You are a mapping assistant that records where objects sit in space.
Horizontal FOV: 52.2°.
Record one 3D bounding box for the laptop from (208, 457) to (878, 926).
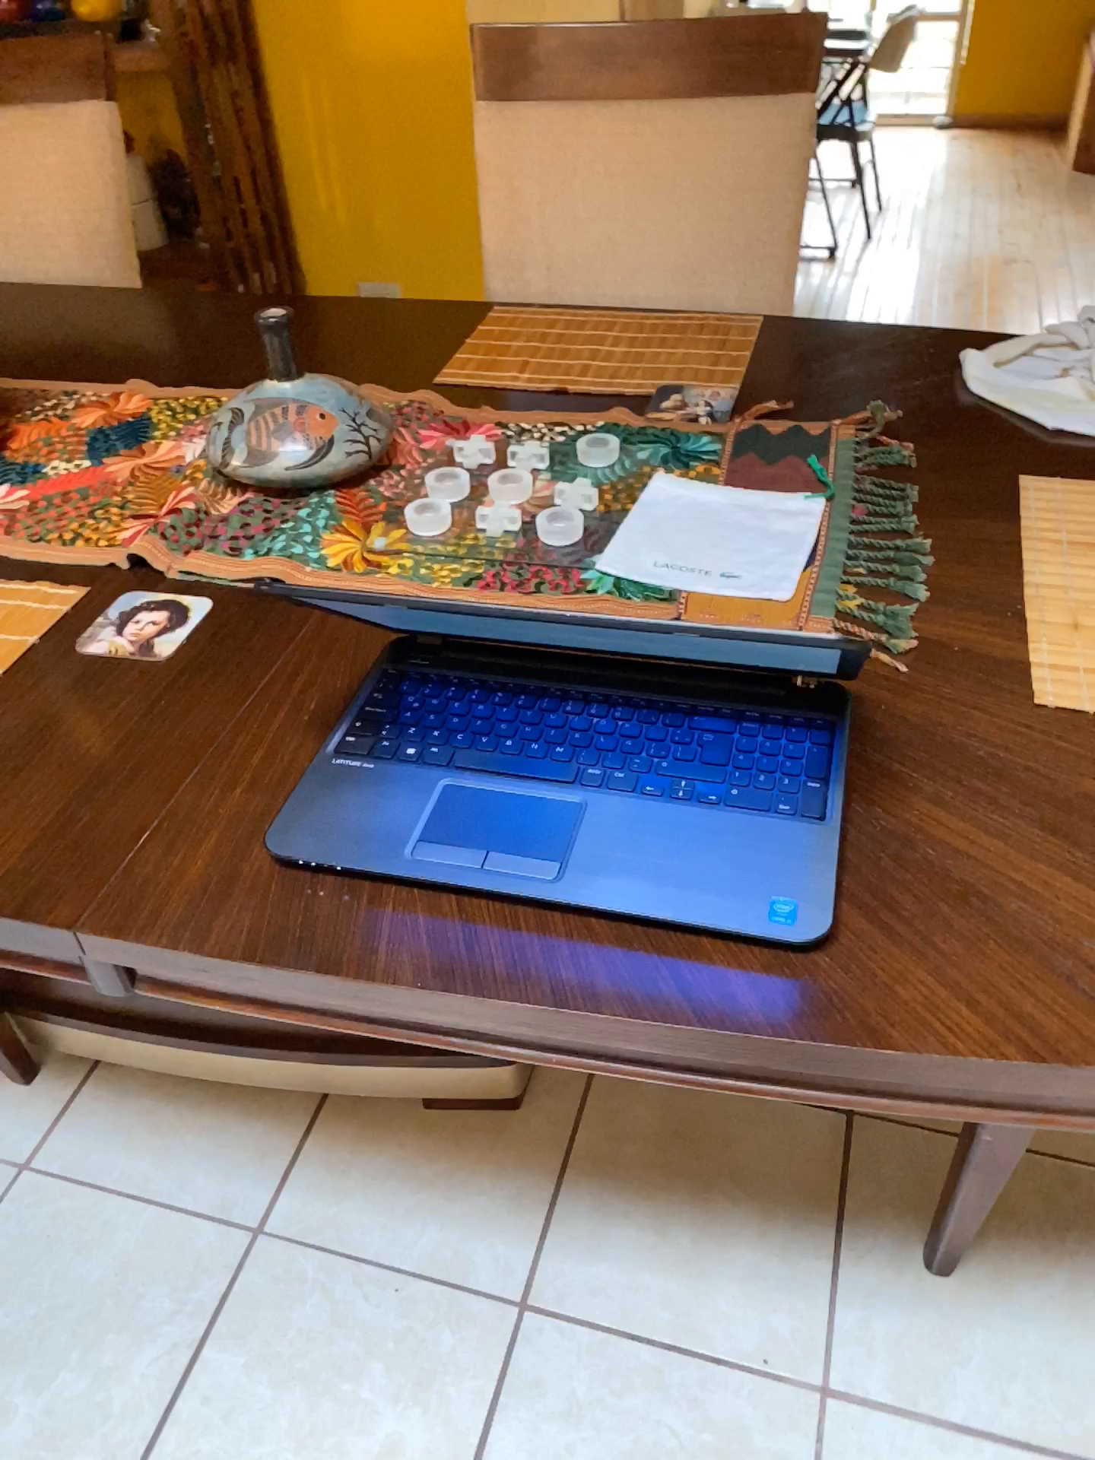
[{"bbox_3d":[0.017,-0.043,0.743,0.356,0.158,0.249,7,40,14],"label":"laptop"}]
